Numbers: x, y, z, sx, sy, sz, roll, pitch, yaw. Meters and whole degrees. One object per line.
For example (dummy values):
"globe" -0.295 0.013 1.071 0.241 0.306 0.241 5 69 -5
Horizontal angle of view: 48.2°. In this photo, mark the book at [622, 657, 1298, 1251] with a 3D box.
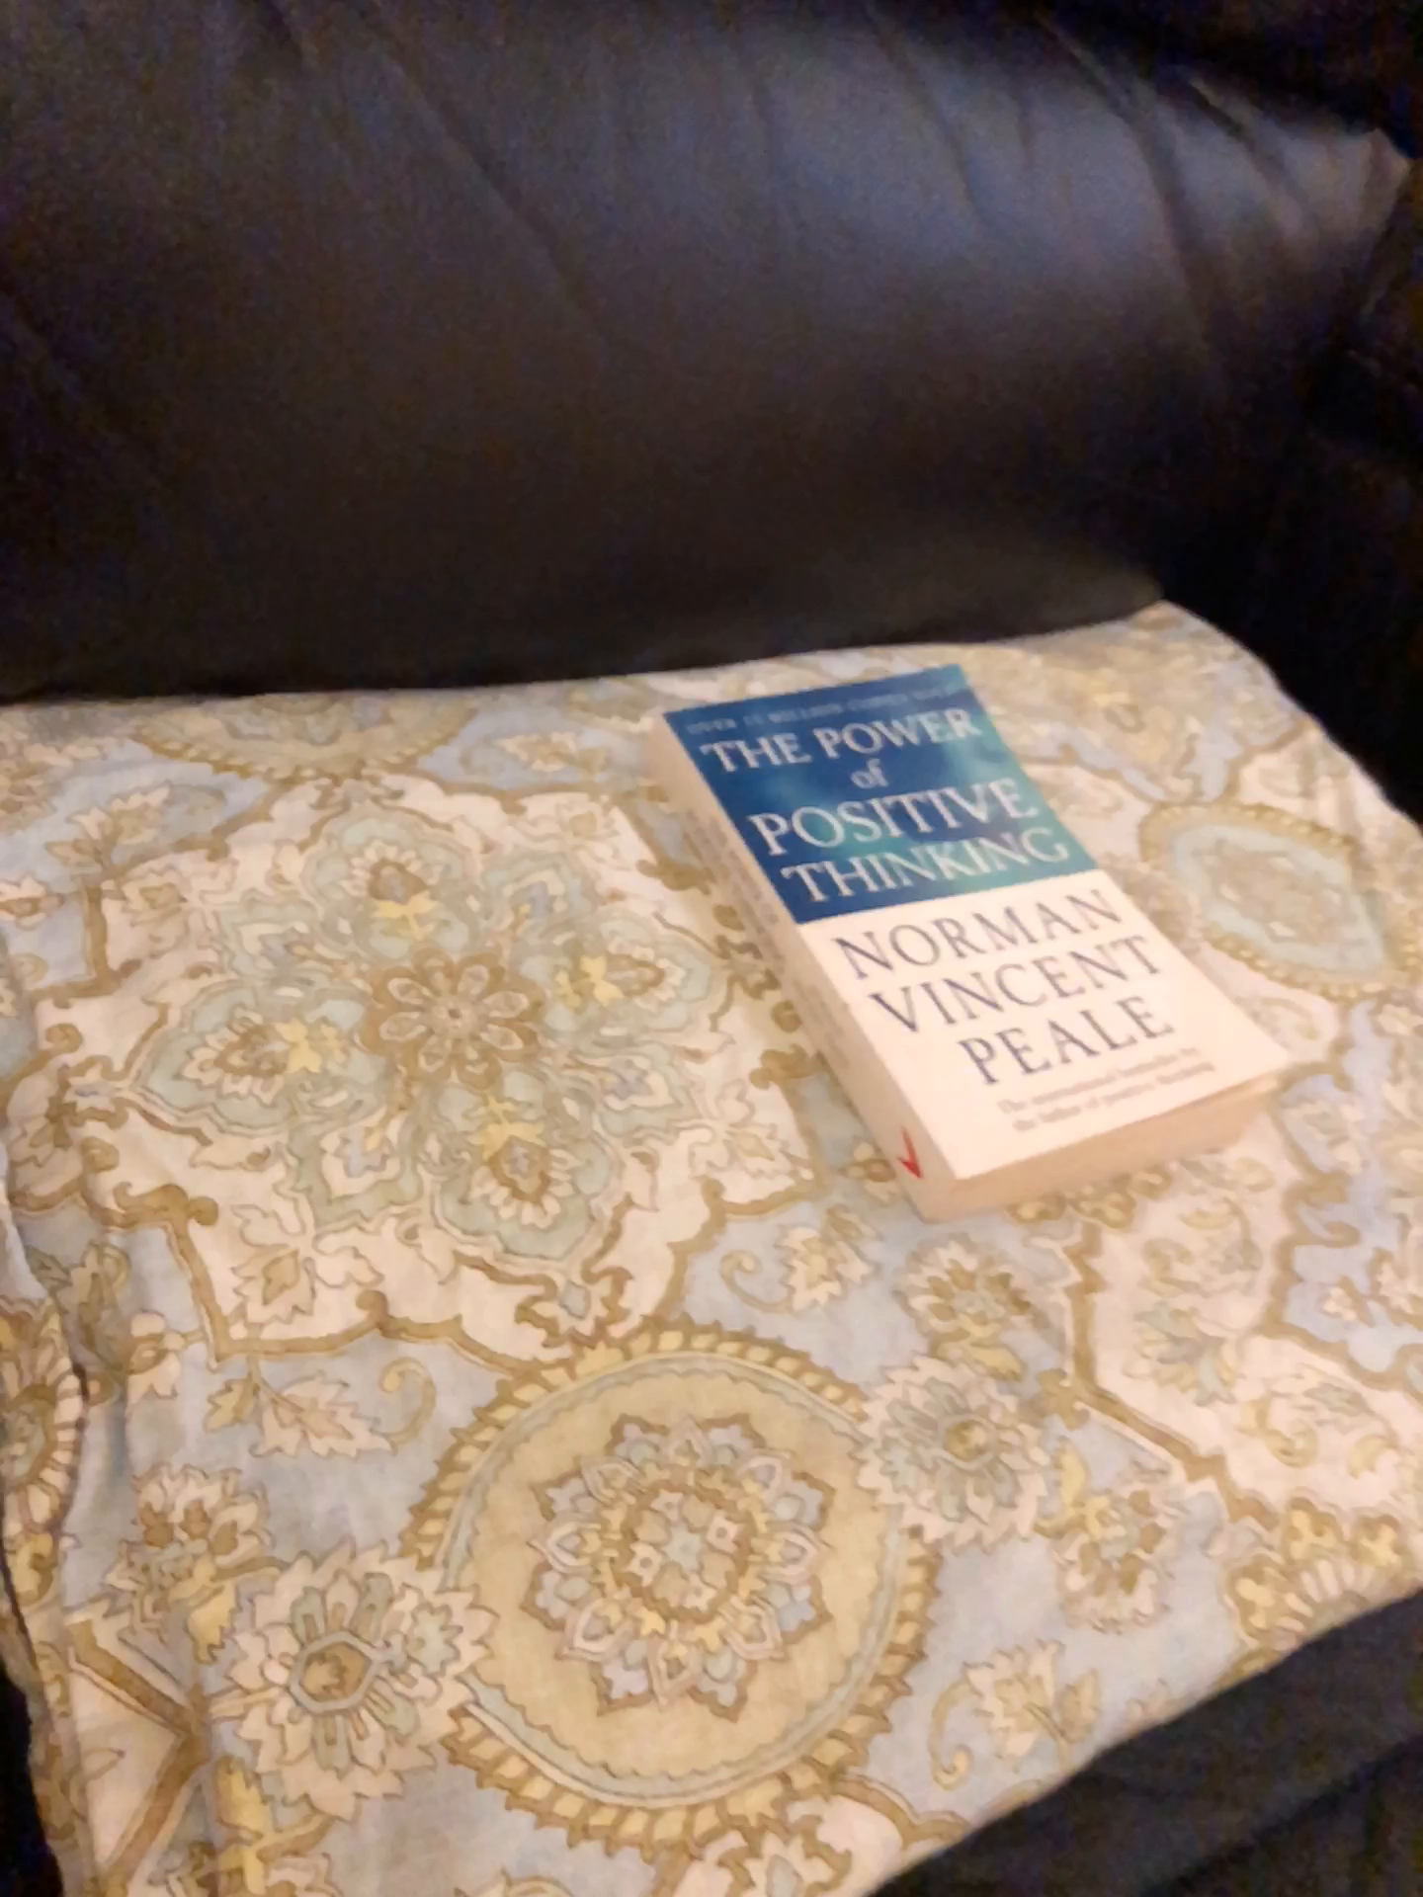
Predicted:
"book" 0.068 -0.011 0.471 0.120 0.030 0.183 -12 54 -29
